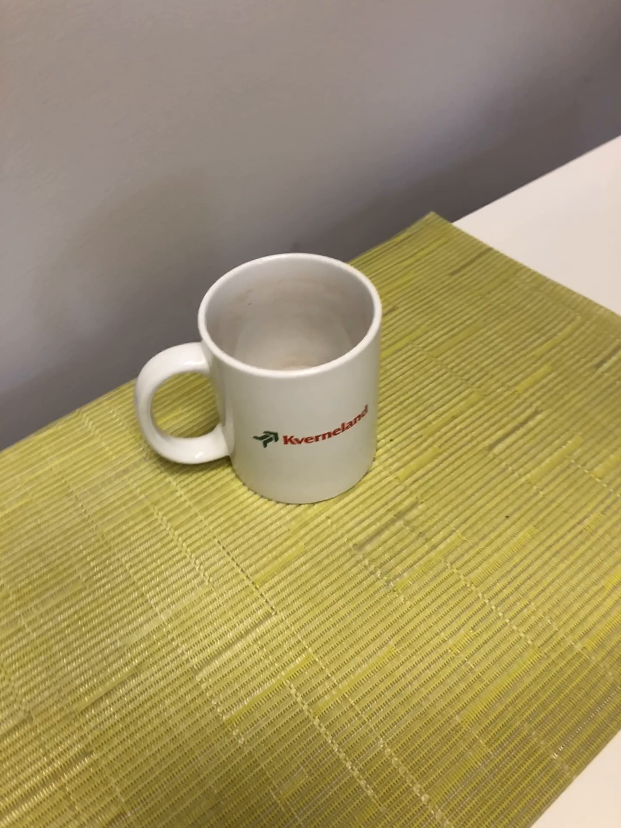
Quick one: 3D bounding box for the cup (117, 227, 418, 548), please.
[{"bbox_3d":[-0.021,-0.014,0.341,0.114,0.100,0.090,-15,48,-10],"label":"cup"}]
